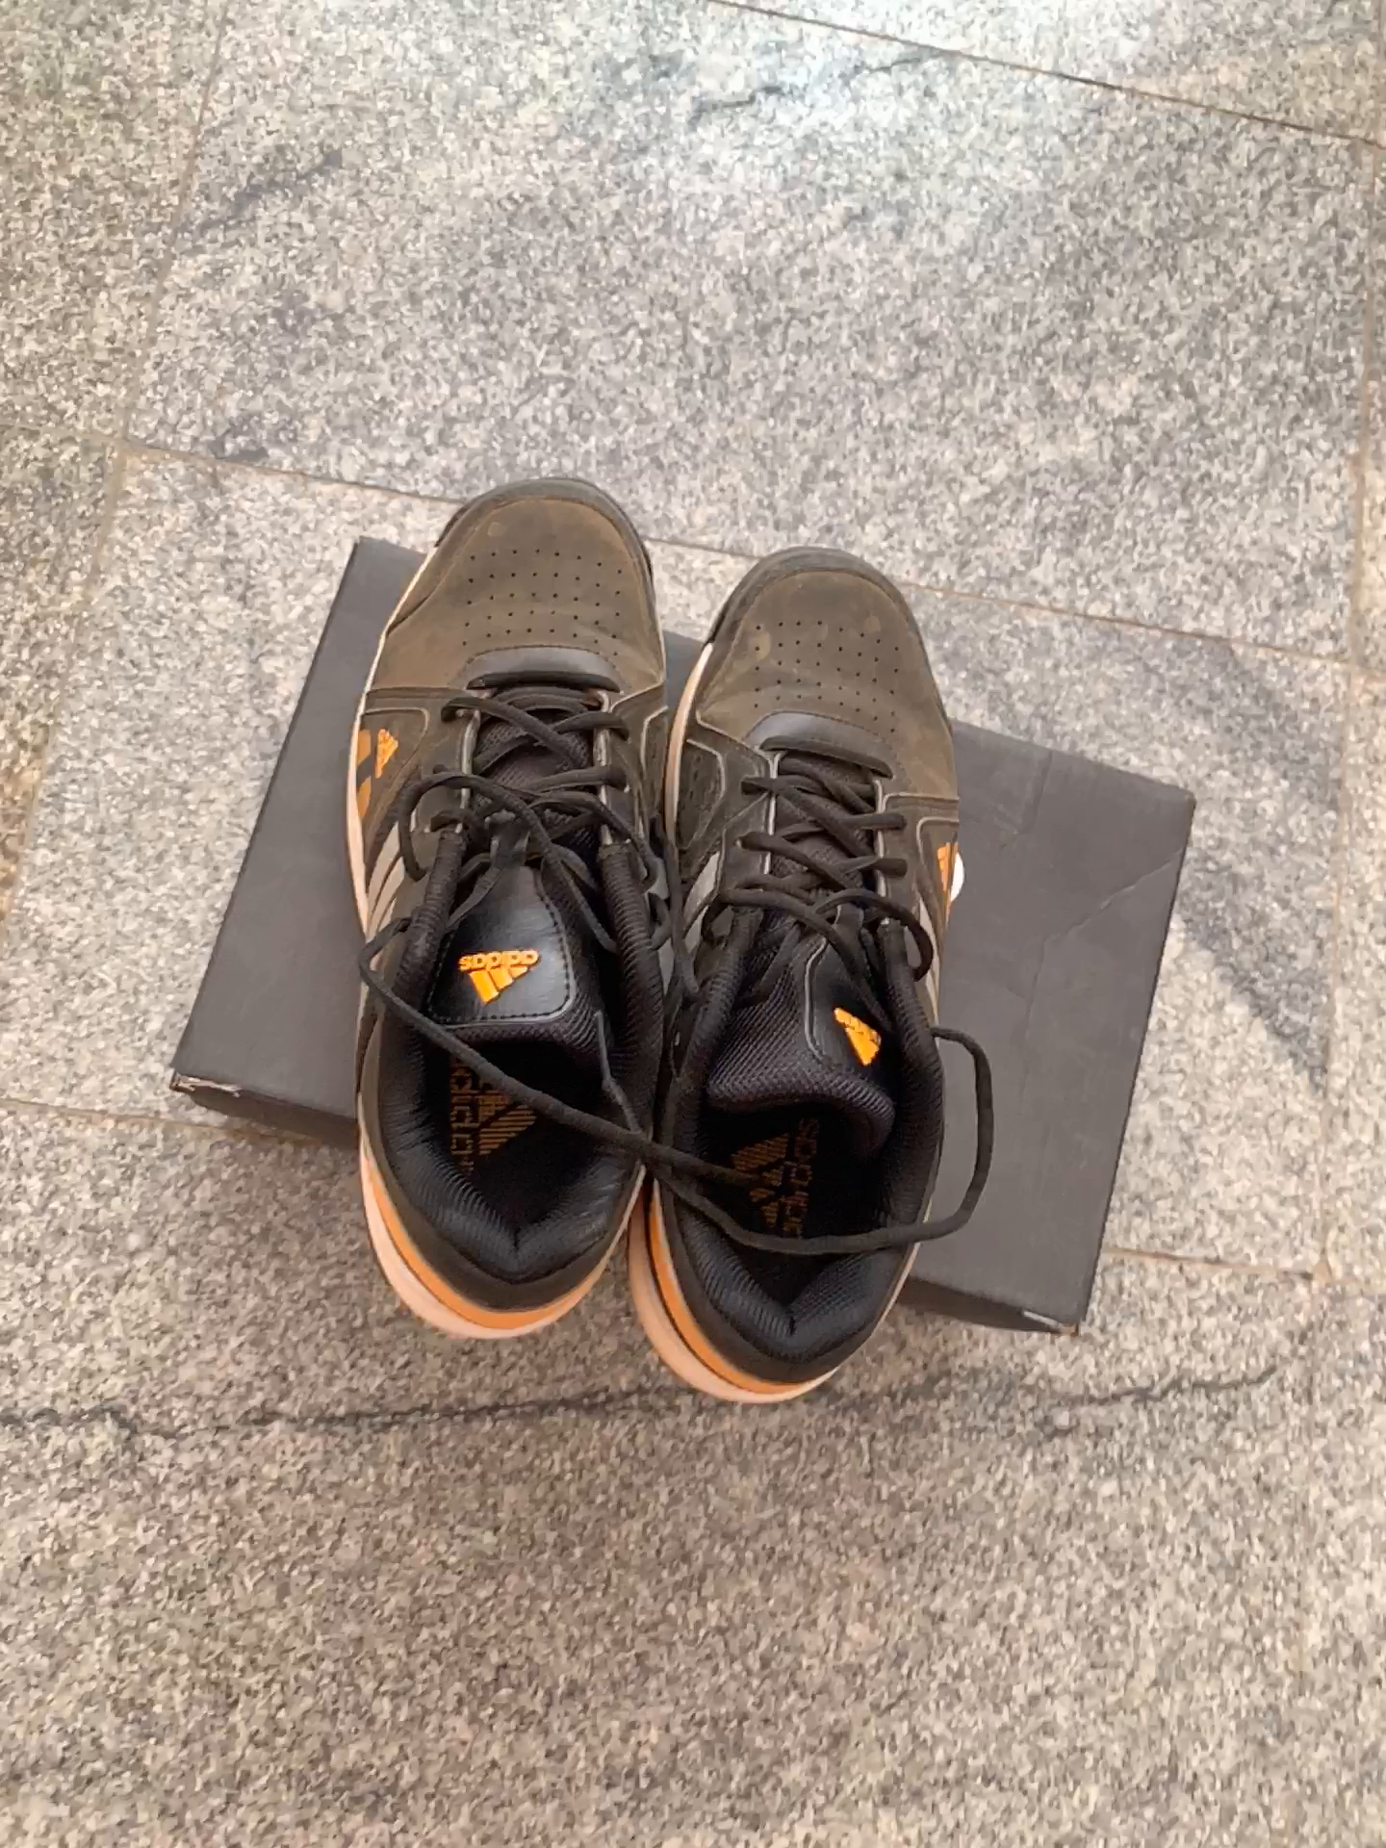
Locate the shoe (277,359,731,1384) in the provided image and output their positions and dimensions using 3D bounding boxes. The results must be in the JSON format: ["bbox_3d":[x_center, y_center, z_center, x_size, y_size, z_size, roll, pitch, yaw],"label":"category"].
[{"bbox_3d":[-0.060,-0.014,0.466,0.110,0.090,0.300,6,79,-13],"label":"shoe"}]

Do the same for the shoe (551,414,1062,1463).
[{"bbox_3d":[0.034,0.003,0.452,0.110,0.090,0.290,9,79,-4],"label":"shoe"}]
